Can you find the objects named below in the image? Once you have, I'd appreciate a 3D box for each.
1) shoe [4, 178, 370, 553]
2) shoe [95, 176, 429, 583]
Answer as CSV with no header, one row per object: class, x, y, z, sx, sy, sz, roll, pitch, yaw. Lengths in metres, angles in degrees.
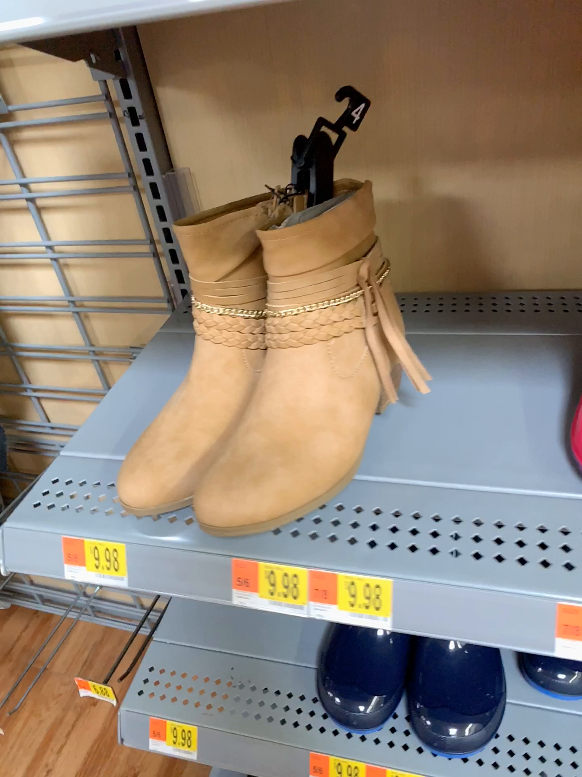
shoe,-0.050,-0.028,0.426,0.089,0.161,0.217,23,48,38
shoe,0.008,-0.024,0.404,0.083,0.154,0.238,14,43,30
